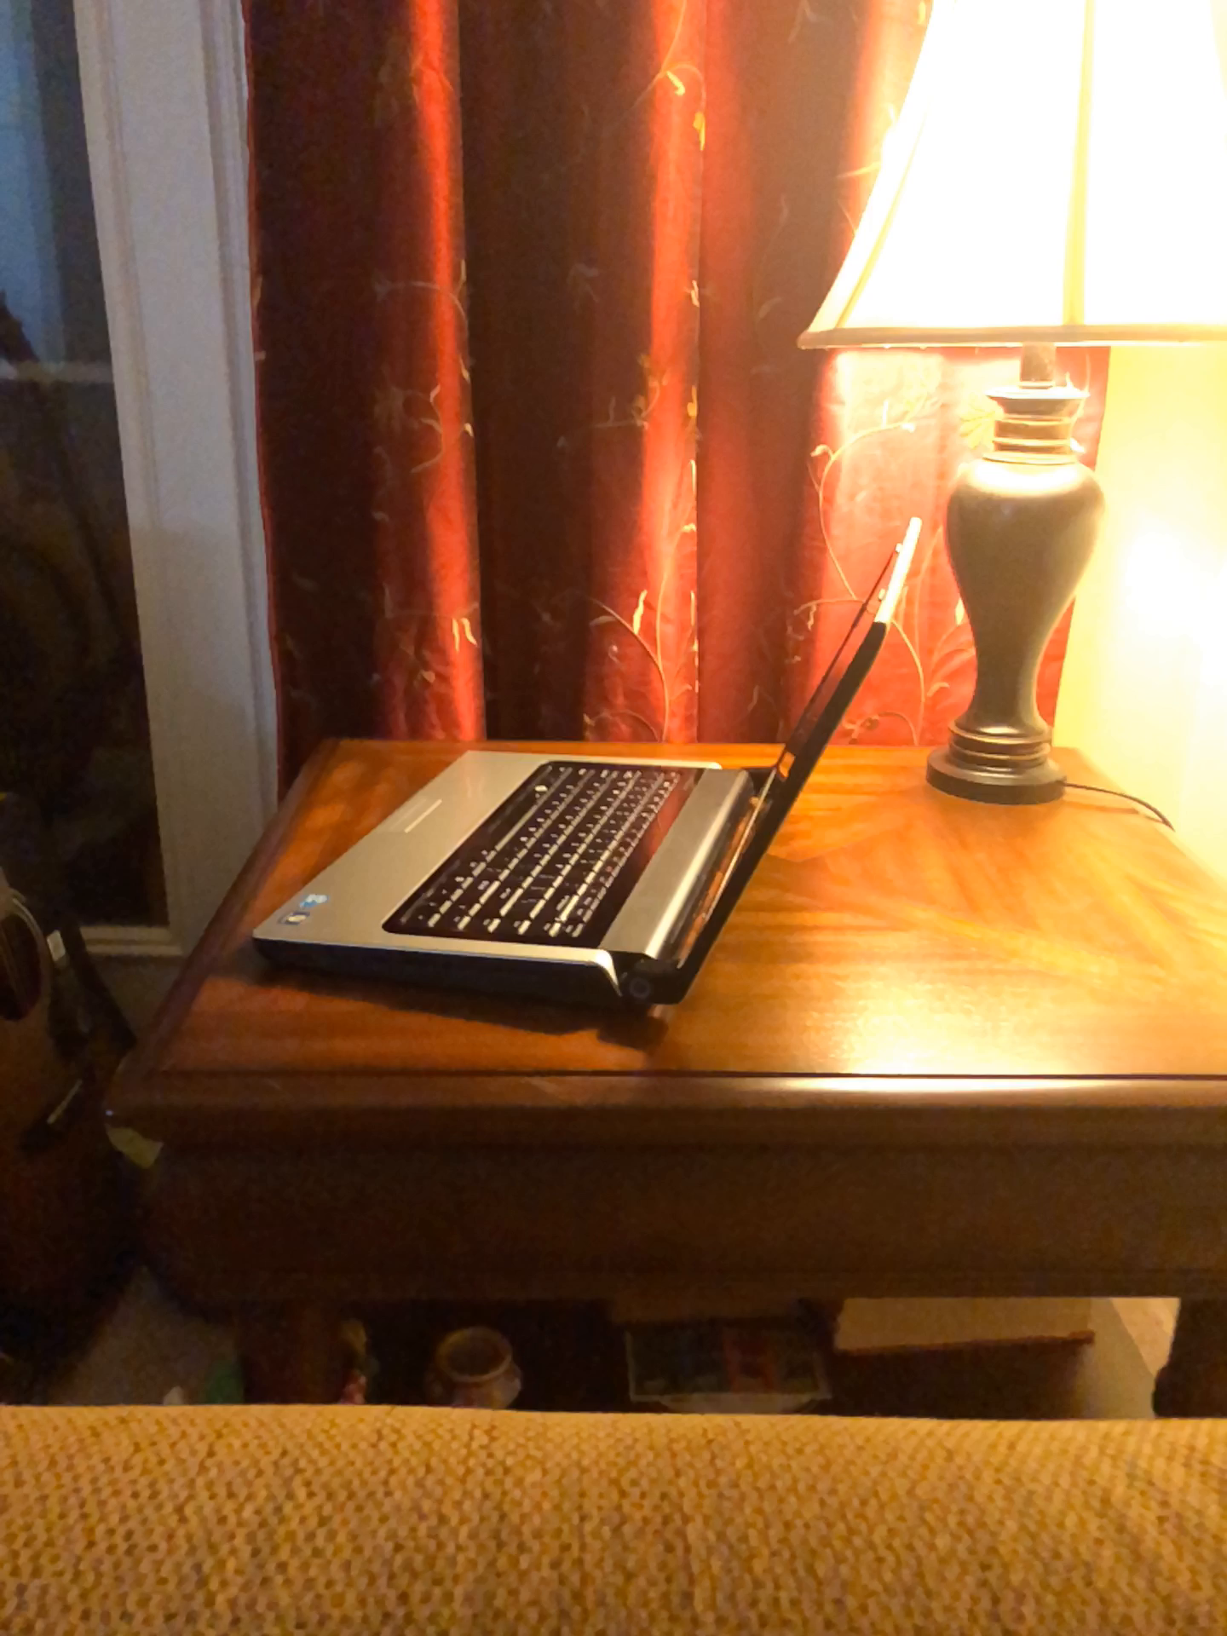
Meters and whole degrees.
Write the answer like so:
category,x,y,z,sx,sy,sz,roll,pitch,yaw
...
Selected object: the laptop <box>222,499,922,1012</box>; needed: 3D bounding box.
category,x,y,z,sx,sy,sz,roll,pitch,yaw
laptop,0.006,-0.072,0.877,0.350,0.204,0.363,6,21,13
